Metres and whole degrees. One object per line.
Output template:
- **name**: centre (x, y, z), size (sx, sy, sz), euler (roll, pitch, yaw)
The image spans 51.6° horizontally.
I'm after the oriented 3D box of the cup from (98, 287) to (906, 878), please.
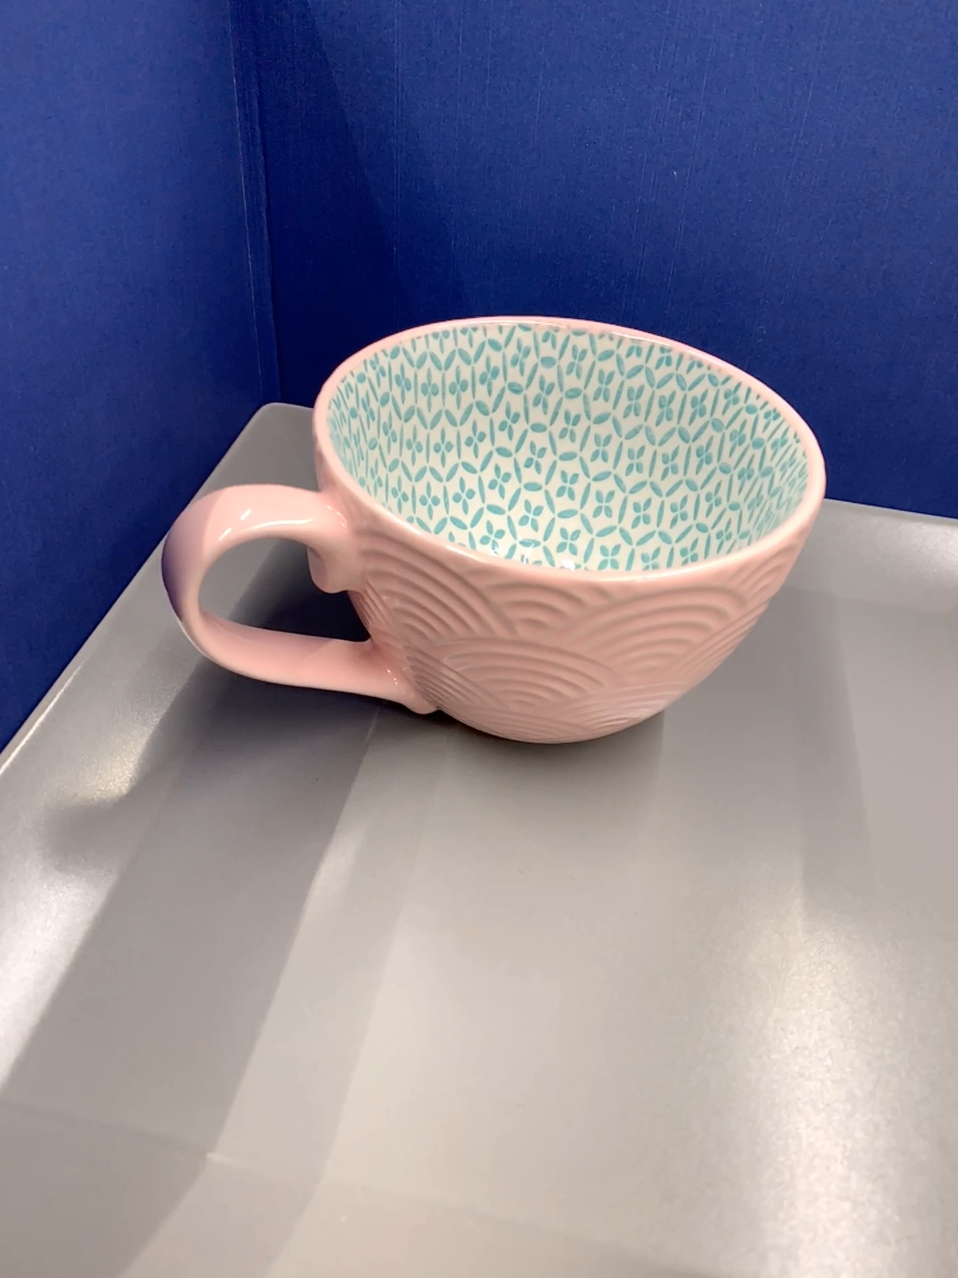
- **cup**: centre (-0.001, -0.024, 0.241), size (0.150, 0.064, 0.105), euler (-12, 50, -20)
